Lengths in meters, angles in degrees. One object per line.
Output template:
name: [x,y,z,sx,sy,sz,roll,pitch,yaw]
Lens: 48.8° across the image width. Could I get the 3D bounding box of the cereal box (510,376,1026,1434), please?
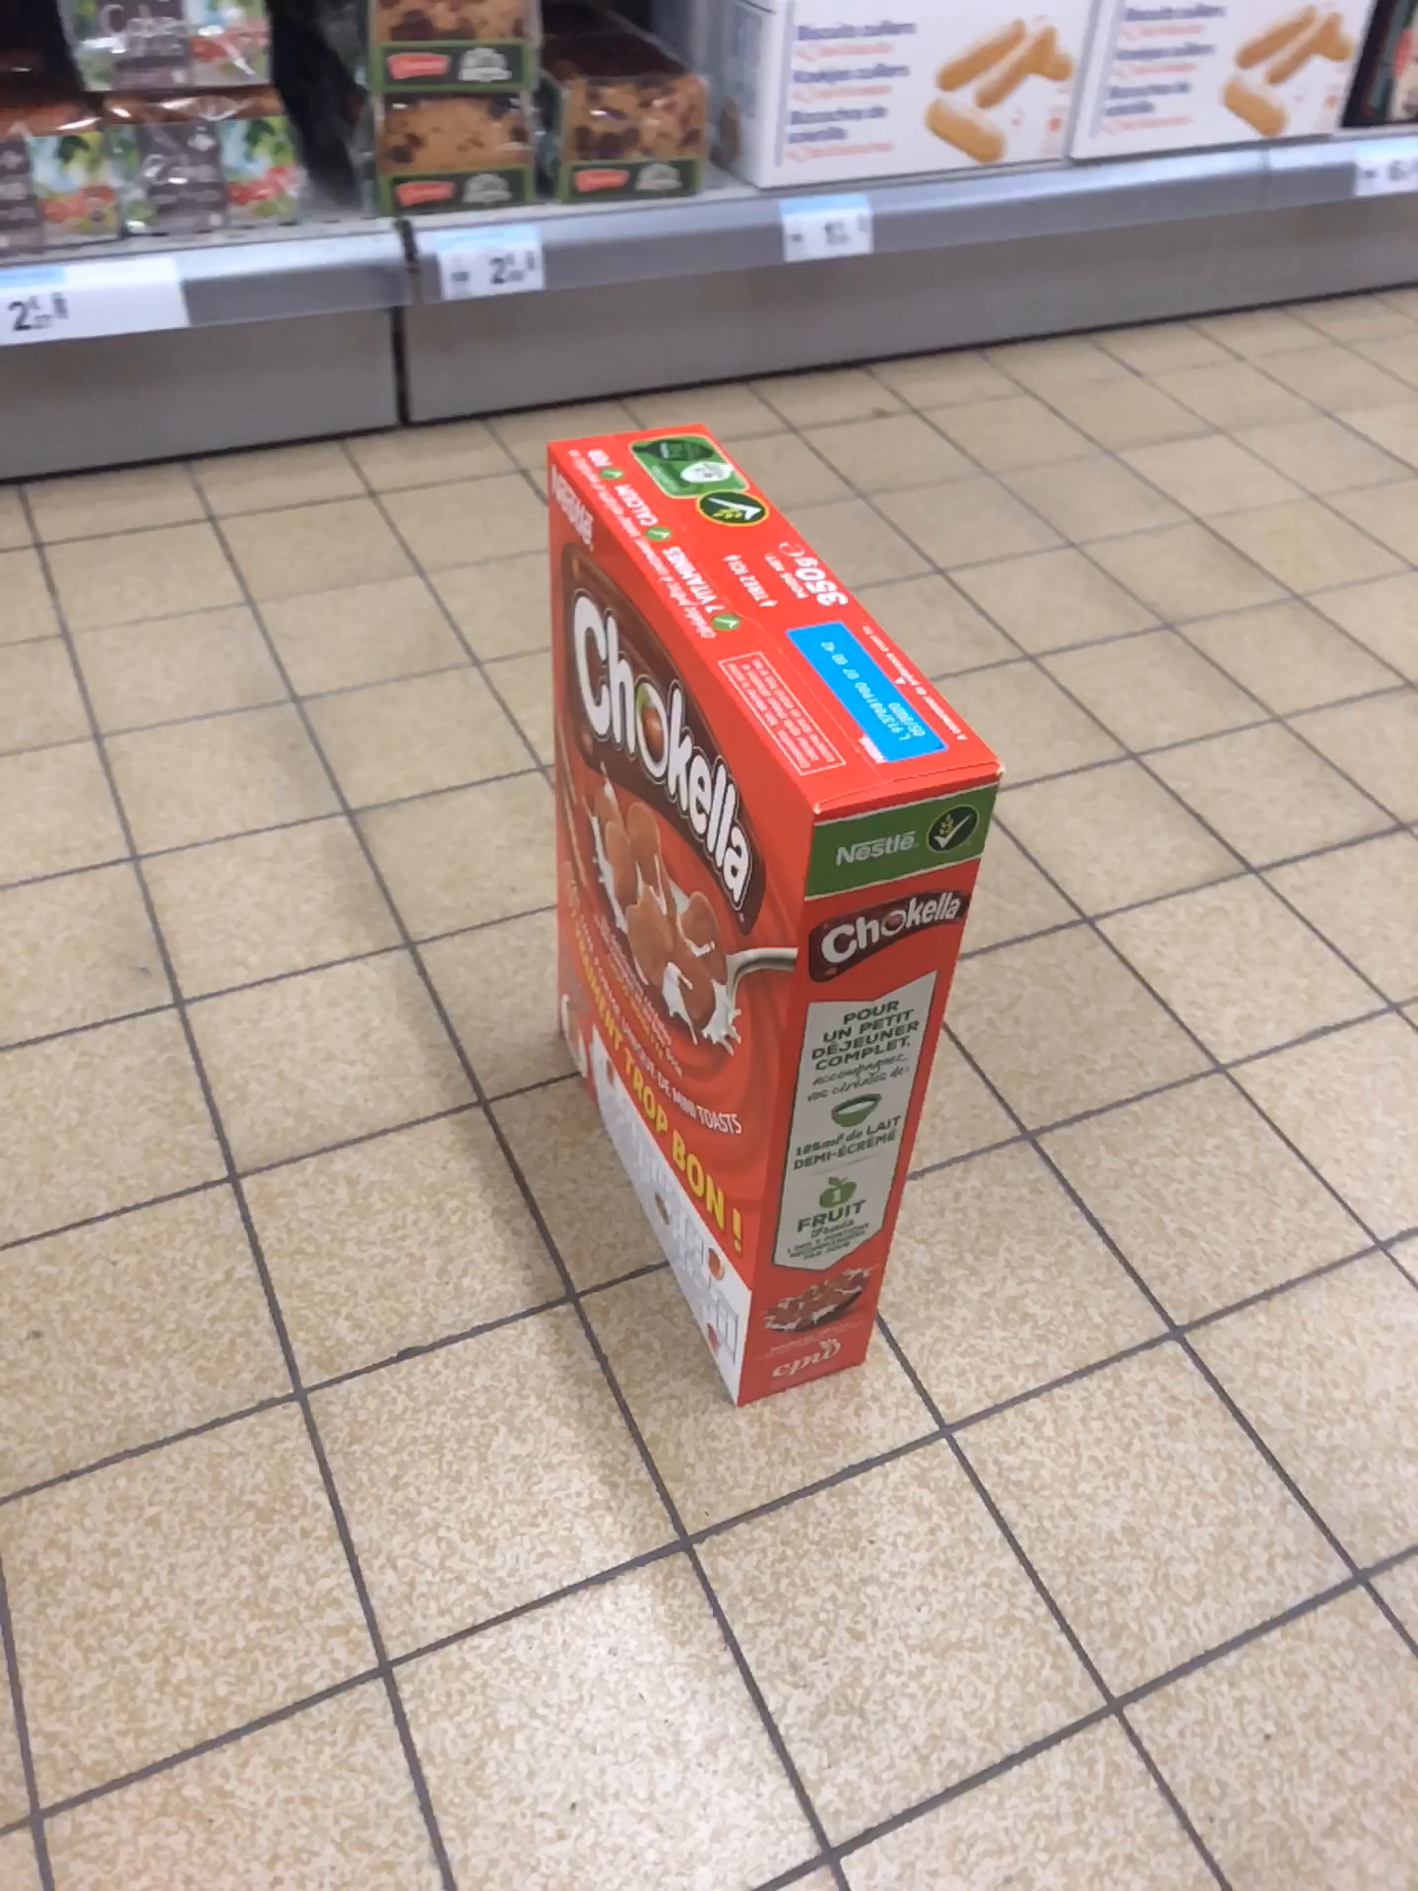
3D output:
cereal box: [-0.003,-0.007,0.513,0.060,0.278,0.201,-14,46,-19]
